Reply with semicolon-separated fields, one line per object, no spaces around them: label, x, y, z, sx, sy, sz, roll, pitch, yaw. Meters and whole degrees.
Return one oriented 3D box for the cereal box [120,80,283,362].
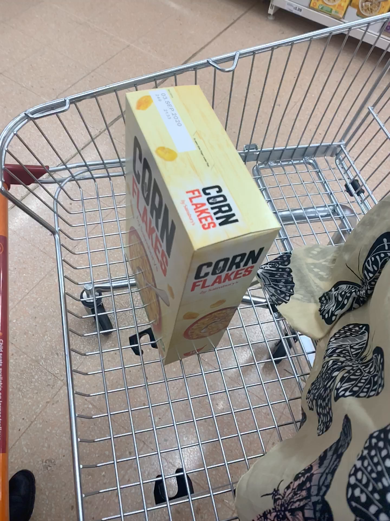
cereal box;-0.019;-0.025;0.468;0.080;0.278;0.191;-15;62;-17
